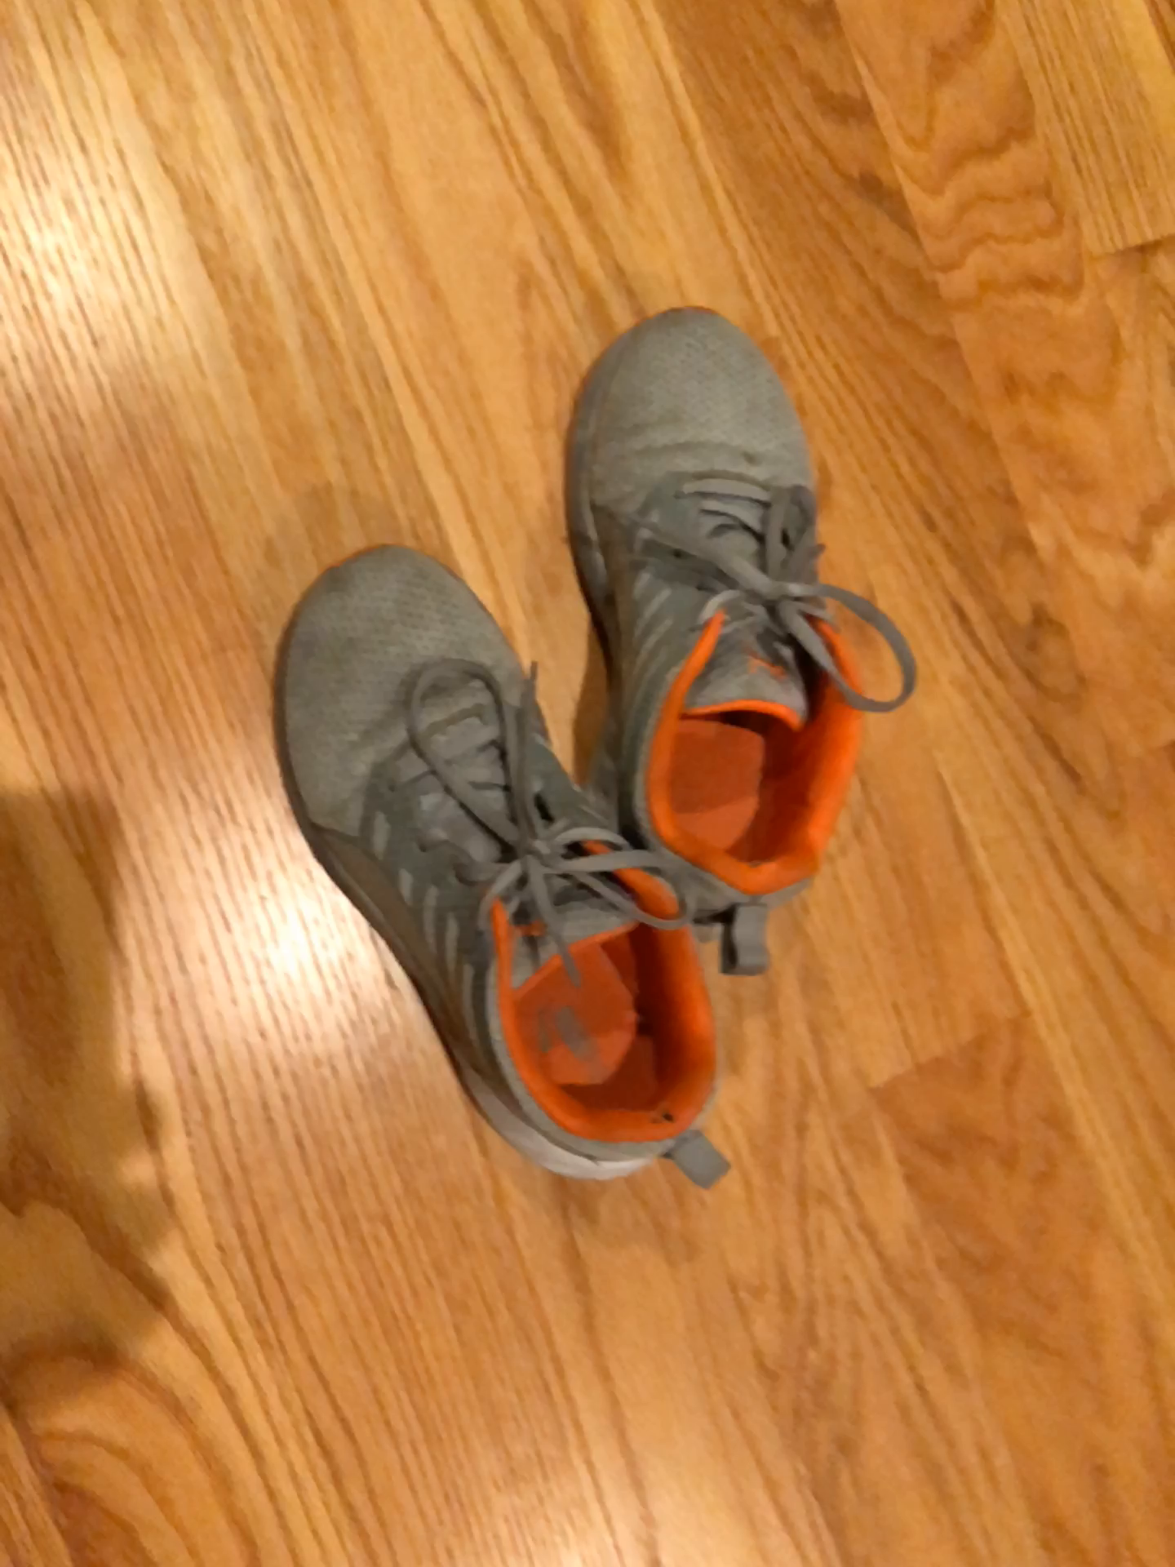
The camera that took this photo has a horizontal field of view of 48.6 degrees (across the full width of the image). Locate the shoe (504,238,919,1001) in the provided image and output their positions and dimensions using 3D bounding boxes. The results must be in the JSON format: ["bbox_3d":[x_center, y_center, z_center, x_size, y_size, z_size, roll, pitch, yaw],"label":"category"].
[{"bbox_3d":[0.039,-0.055,0.483,0.100,0.100,0.250,-4,87,-16],"label":"shoe"}]

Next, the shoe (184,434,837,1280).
[{"bbox_3d":[-0.030,0.024,0.458,0.110,0.080,0.250,-28,93,-16],"label":"shoe"}]
